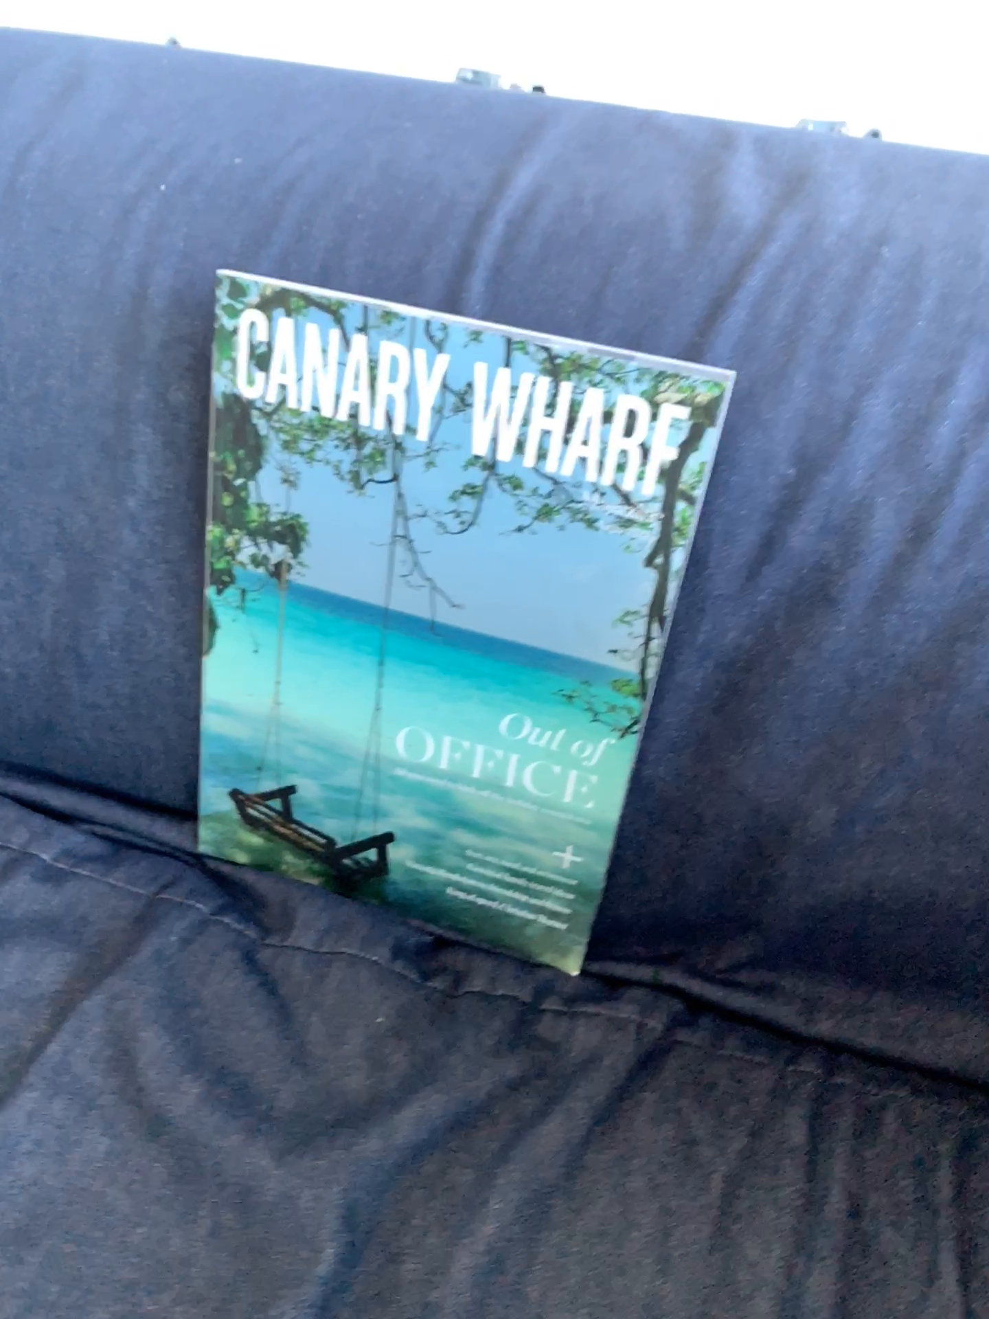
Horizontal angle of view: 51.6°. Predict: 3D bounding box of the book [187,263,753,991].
[{"bbox_3d":[-0.028,-0.006,0.436,0.205,0.273,0.030,15,25,12],"label":"book"}]
